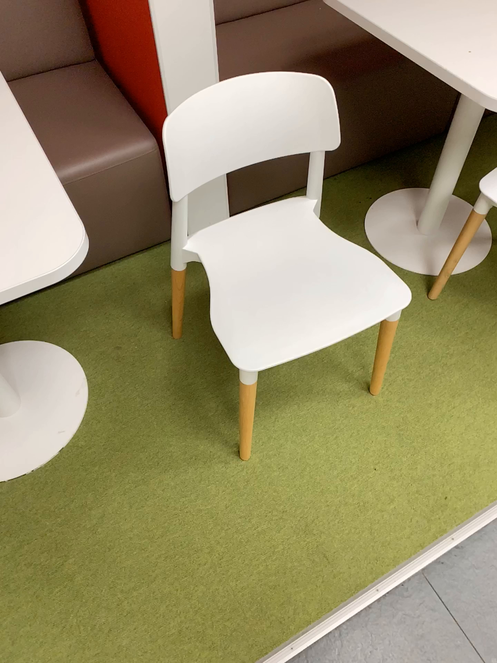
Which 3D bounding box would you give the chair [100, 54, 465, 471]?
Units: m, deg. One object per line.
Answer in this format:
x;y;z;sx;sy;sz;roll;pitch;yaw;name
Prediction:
0.044;-0.121;1.263;0.501;0.787;0.501;-22;57;-14;chair
